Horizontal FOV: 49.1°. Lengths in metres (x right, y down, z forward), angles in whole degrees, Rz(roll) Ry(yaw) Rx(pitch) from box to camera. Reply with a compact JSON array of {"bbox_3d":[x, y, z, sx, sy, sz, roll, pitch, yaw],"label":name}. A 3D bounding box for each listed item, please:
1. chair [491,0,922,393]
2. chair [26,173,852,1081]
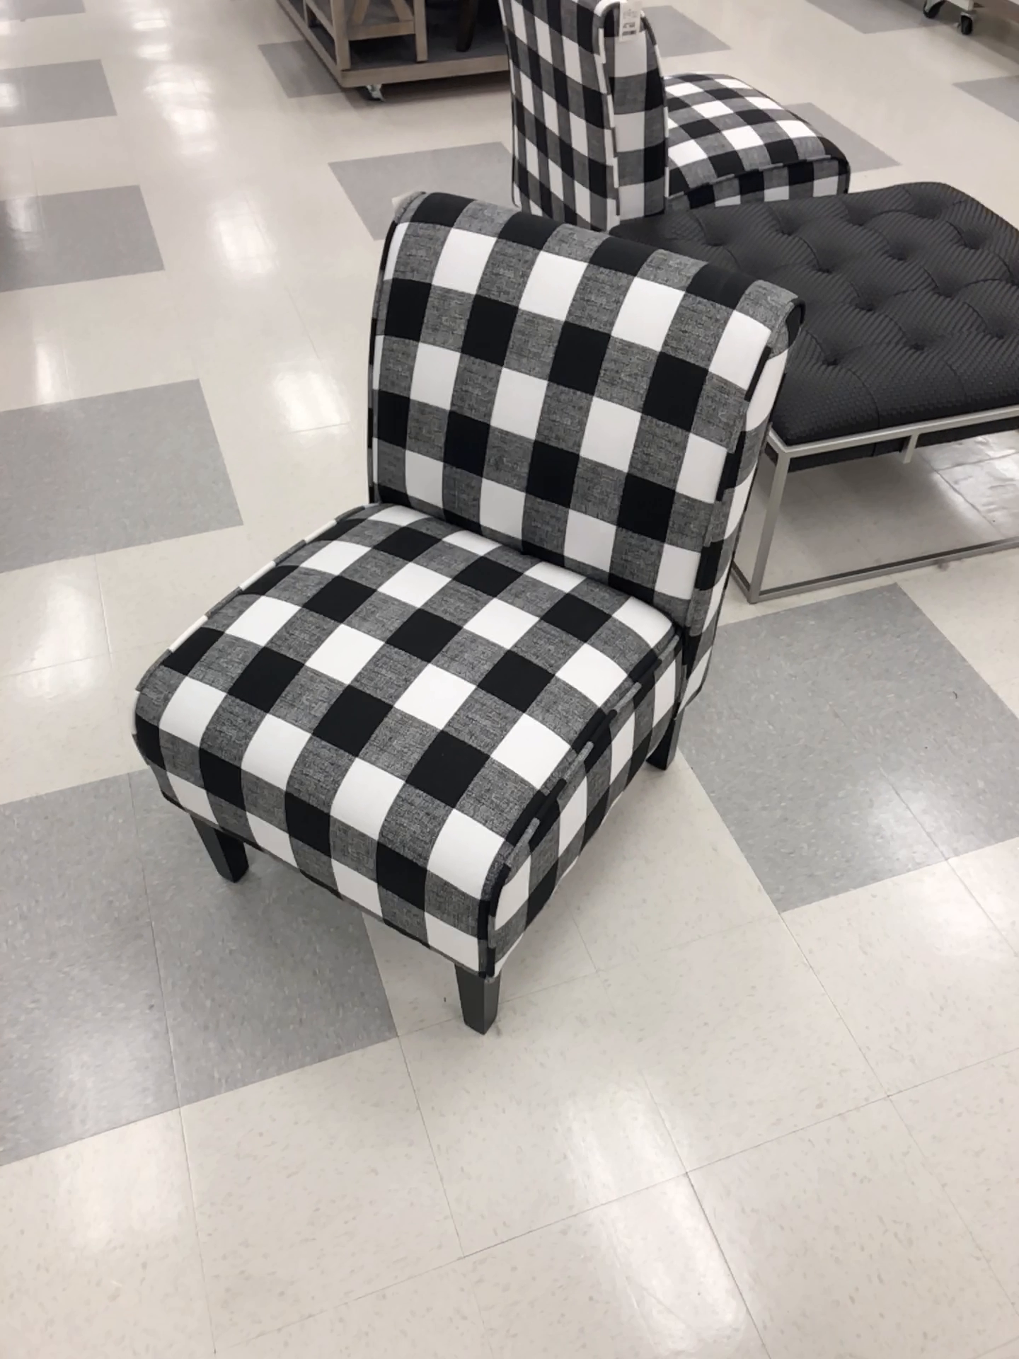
[{"bbox_3d":[0.400,-1.287,2.713,0.729,0.833,0.627,-14,47,-13],"label":"chair"},{"bbox_3d":[-0.046,-0.082,1.528,0.625,0.833,0.702,24,50,21],"label":"chair"}]
